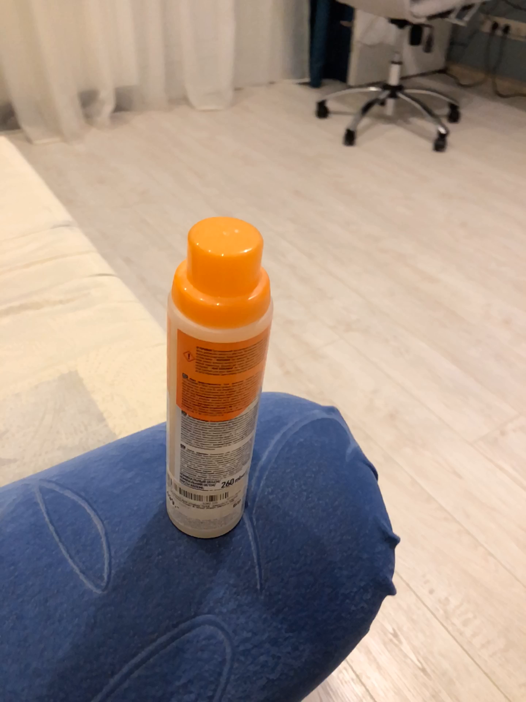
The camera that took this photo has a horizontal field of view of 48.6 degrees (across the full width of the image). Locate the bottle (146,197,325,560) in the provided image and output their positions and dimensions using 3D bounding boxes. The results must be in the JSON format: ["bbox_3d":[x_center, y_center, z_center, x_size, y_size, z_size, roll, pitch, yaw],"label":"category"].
[{"bbox_3d":[-0.023,0.024,0.298,0.052,0.188,0.052,6,40,-5],"label":"bottle"}]
